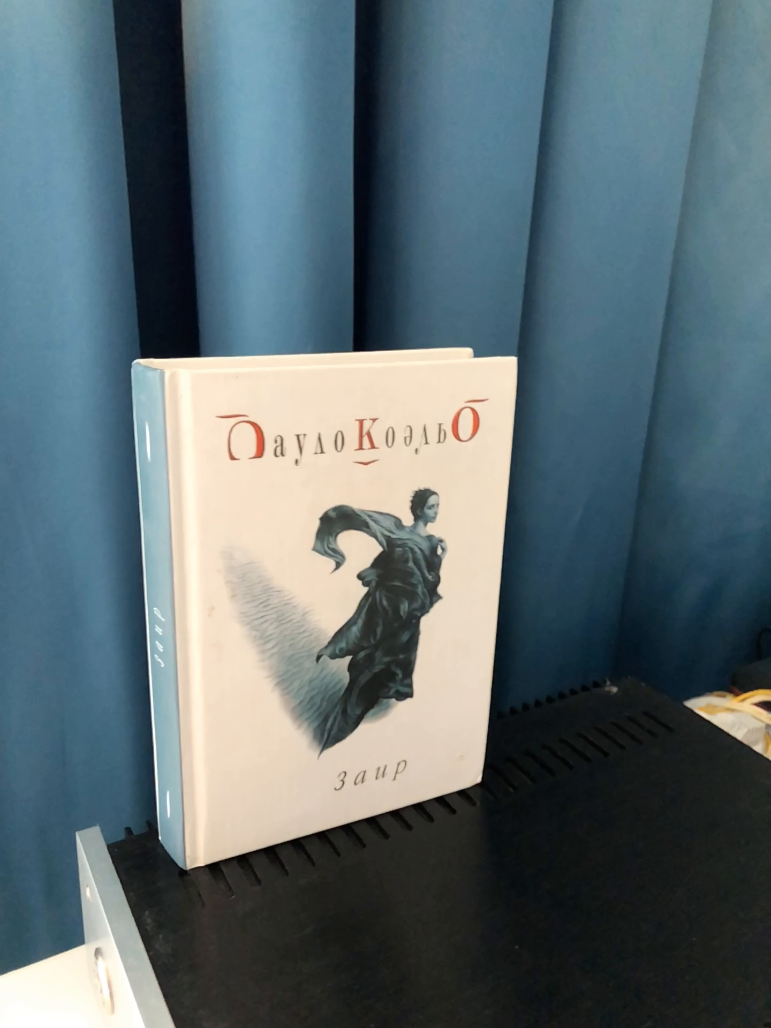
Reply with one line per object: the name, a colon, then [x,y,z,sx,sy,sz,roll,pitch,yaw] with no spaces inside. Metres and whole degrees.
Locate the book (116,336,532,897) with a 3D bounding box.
book: [-0.019,0.033,0.300,0.130,0.179,0.030,-7,21,-25]
